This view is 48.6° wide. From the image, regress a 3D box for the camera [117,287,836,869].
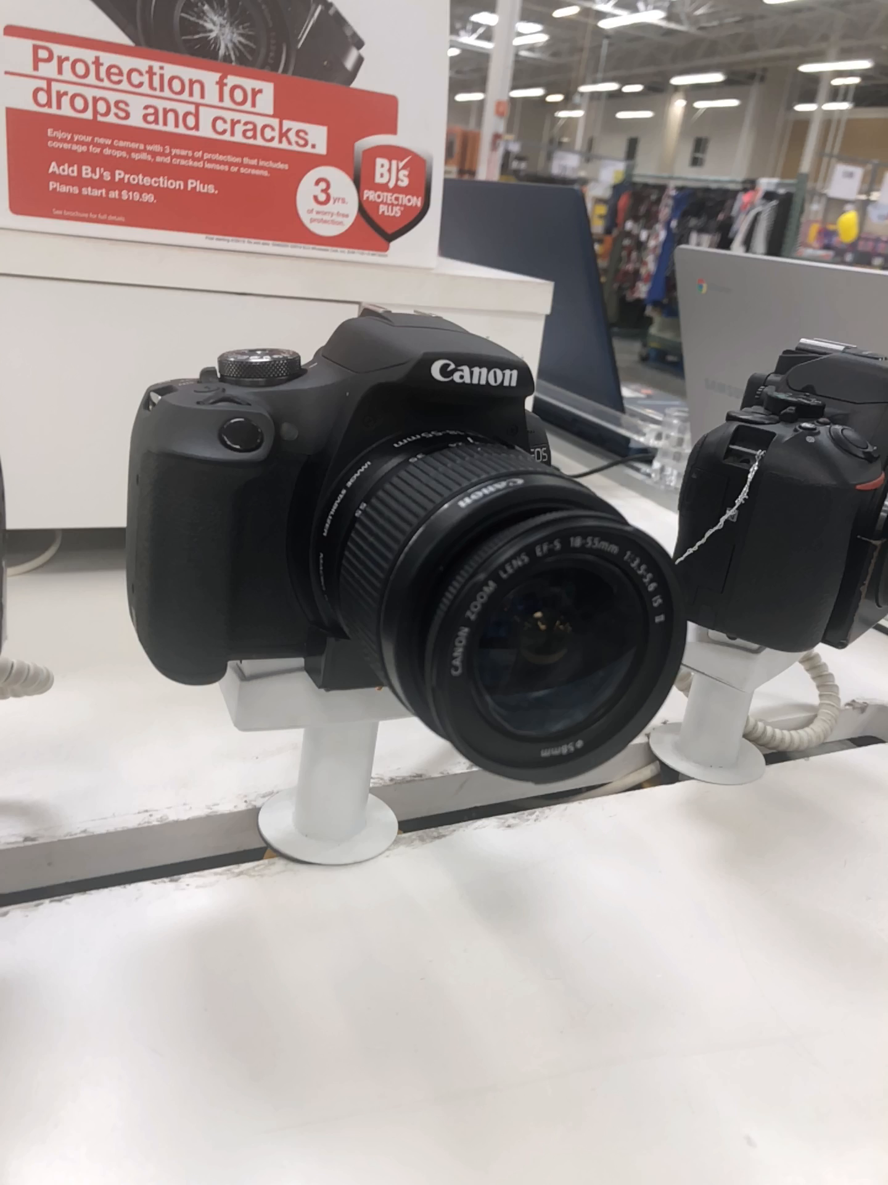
[{"bbox_3d":[-0.006,-0.019,0.257,0.130,0.092,0.132,-4,24,-28],"label":"camera"}]
